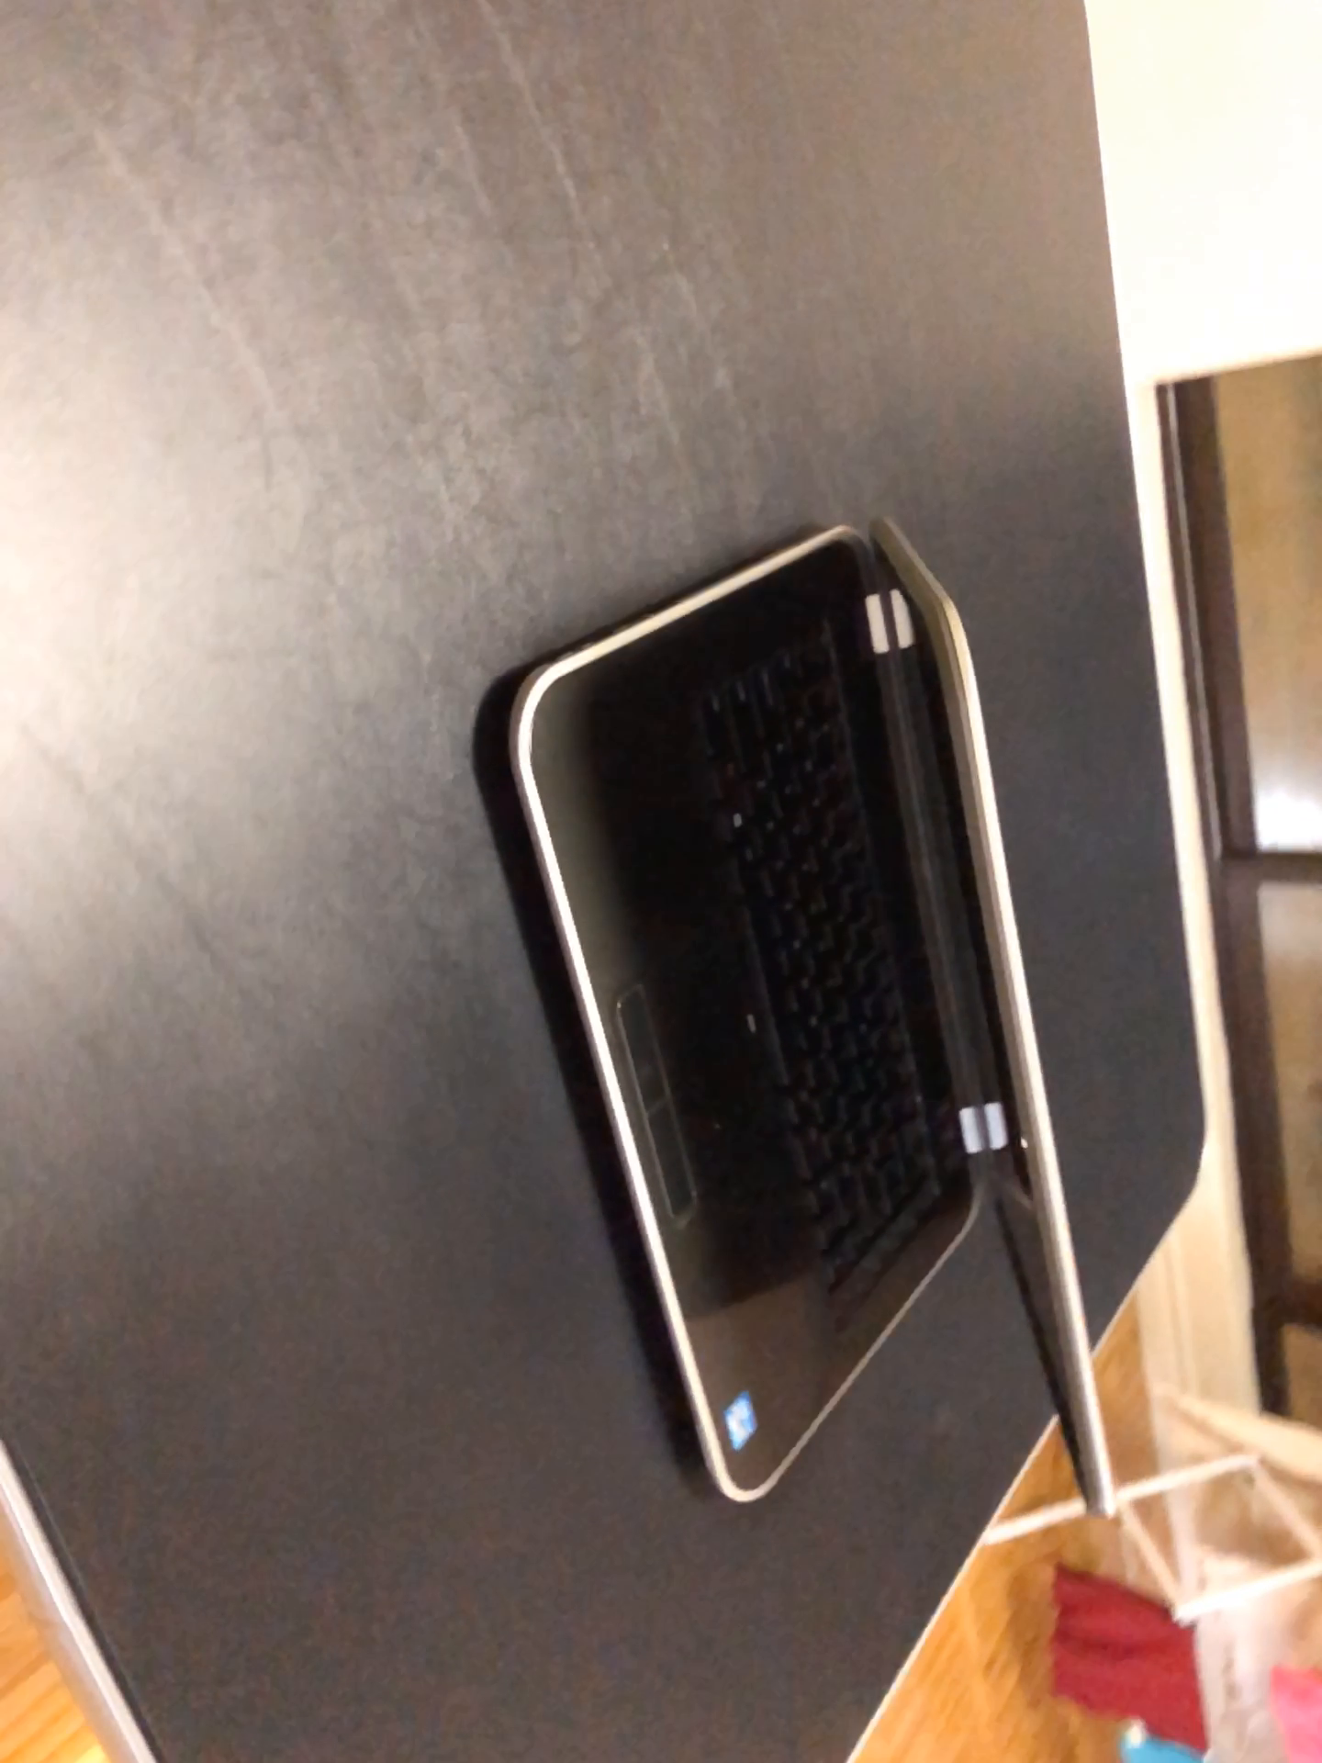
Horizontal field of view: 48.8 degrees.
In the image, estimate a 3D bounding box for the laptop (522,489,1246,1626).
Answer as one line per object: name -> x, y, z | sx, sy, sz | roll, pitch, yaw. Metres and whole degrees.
laptop -> 0.117, 0.057, 0.595 | 0.240, 0.137, 0.356 | -37, 120, -44
